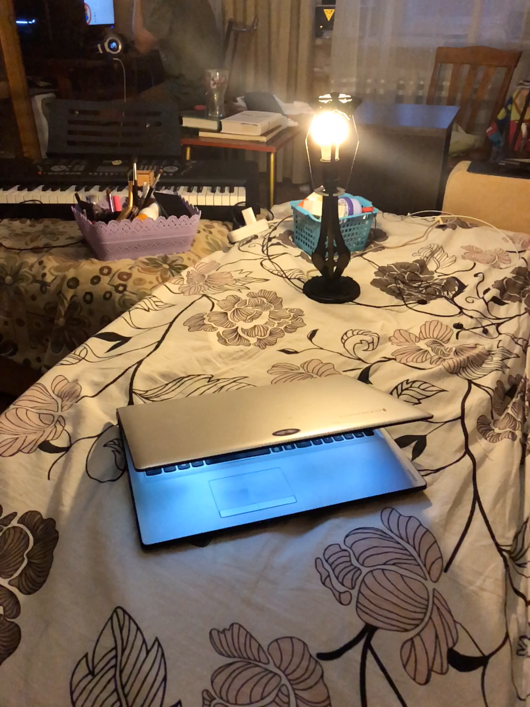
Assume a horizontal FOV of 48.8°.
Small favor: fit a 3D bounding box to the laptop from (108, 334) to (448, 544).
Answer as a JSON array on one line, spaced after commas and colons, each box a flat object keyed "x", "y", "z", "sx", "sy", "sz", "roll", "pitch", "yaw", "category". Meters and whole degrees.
[{"x": 0.001, "y": 0.093, "z": 0.795, "sx": 0.381, "sy": 0.082, "sz": 0.257, "roll": -9, "pitch": 32, "yaw": -15, "category": "laptop"}]
